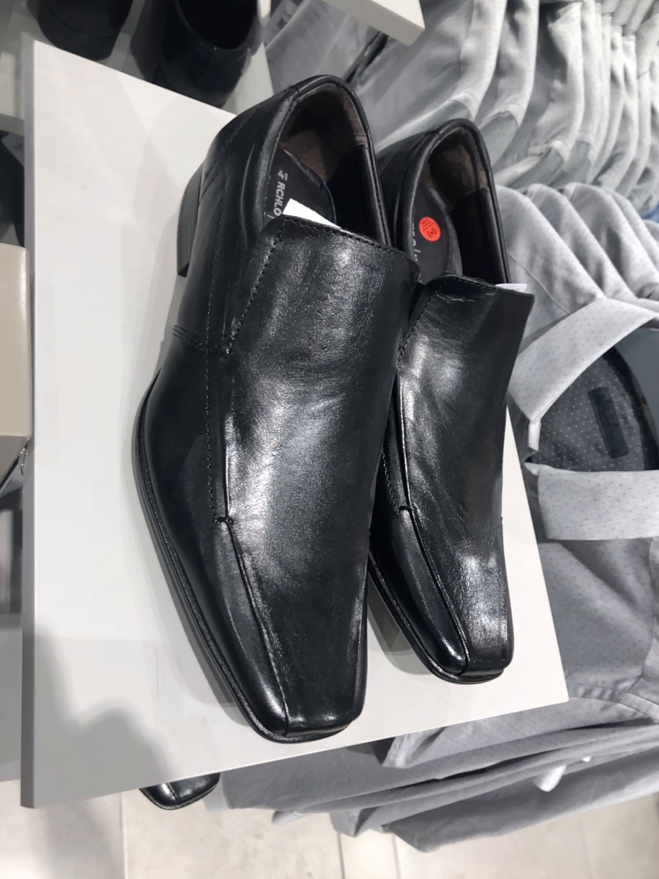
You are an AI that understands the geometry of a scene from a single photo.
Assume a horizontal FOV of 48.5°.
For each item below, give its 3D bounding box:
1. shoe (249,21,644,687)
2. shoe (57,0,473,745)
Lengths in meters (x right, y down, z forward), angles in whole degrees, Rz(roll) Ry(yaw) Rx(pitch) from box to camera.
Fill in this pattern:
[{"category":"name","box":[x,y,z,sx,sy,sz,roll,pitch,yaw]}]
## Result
[{"category":"shoe","box":[0.041,-0.036,0.351,0.110,0.099,0.280,8,66,-32]},{"category":"shoe","box":[-0.039,-0.042,0.305,0.110,0.099,0.301,8,66,-32]}]
